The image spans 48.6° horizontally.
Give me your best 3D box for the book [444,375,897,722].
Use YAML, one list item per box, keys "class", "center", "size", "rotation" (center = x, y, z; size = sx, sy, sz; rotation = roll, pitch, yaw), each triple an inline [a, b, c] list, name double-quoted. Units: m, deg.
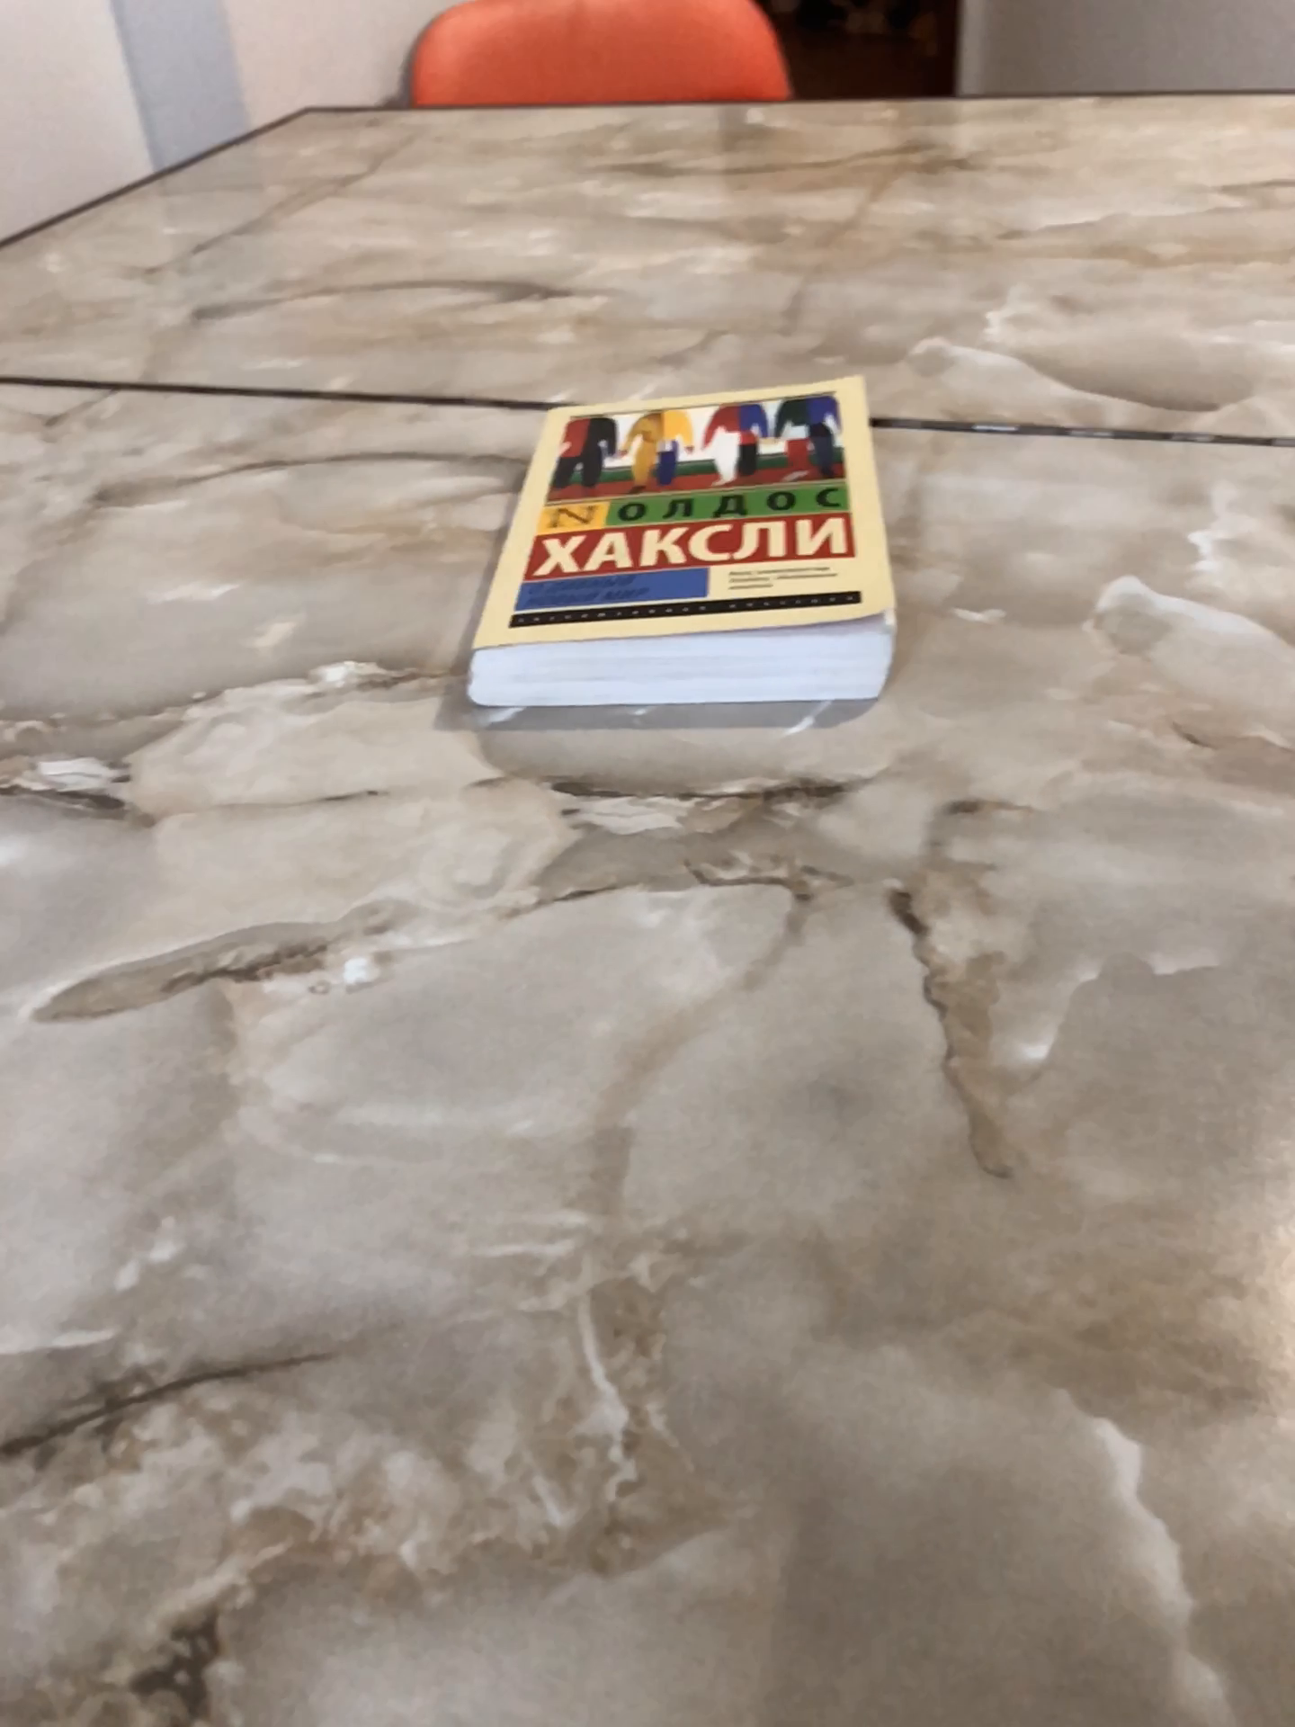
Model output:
- class: "book"
  center: [0.014, -0.108, 0.459]
  size: [0.120, 0.028, 0.185]
  rotation: [0, 38, 7]
